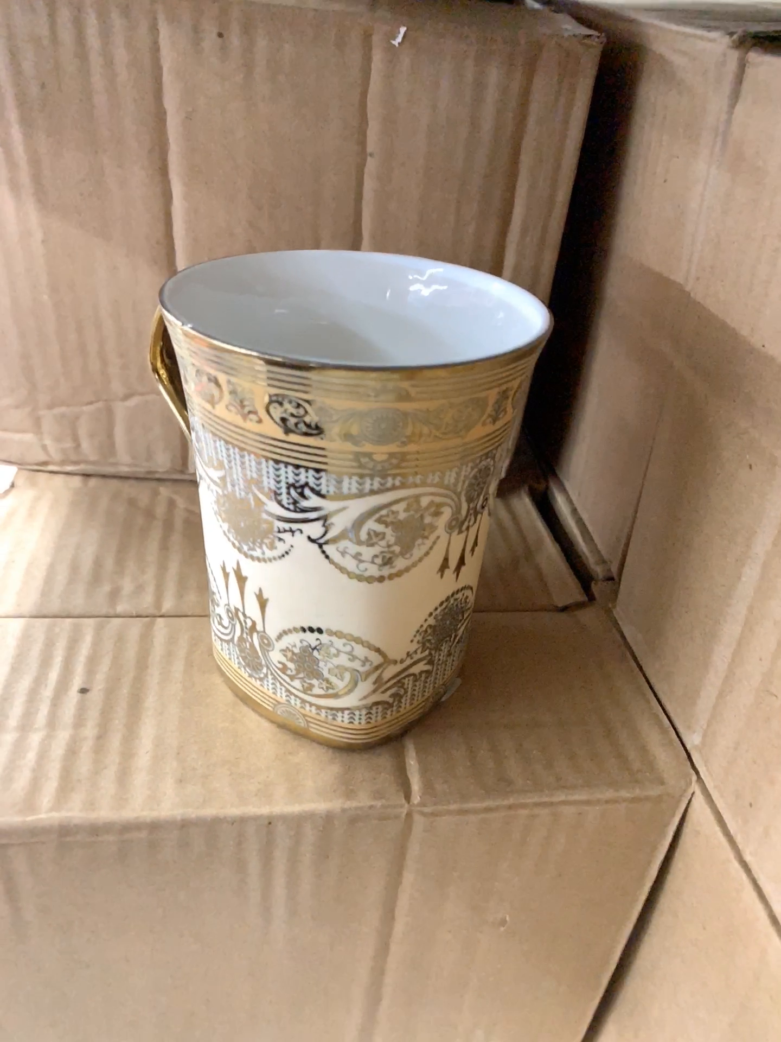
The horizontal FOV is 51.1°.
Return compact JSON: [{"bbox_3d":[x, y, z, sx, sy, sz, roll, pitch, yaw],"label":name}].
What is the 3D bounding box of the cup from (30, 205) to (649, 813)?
[{"bbox_3d":[-0.013,-0.015,0.200,0.105,0.092,0.084,26,39,32],"label":"cup"}]
